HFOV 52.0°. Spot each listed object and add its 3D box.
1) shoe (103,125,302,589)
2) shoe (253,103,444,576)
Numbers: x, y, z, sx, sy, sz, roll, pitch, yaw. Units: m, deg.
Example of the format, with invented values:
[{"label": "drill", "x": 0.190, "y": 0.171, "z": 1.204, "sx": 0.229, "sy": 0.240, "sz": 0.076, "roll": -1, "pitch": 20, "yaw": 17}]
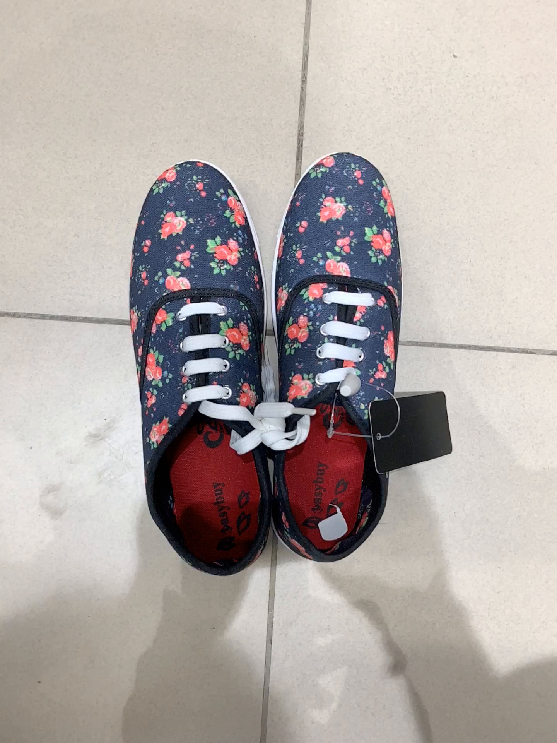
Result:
[{"label": "shoe", "x": -0.047, "y": -0.010, "z": 0.379, "sx": 0.100, "sy": 0.080, "sz": 0.270, "roll": -4, "pitch": 87, "yaw": -3}, {"label": "shoe", "x": 0.040, "y": -0.018, "z": 0.370, "sx": 0.100, "sy": 0.080, "sz": 0.270, "roll": 3, "pitch": 87, "yaw": -2}]
